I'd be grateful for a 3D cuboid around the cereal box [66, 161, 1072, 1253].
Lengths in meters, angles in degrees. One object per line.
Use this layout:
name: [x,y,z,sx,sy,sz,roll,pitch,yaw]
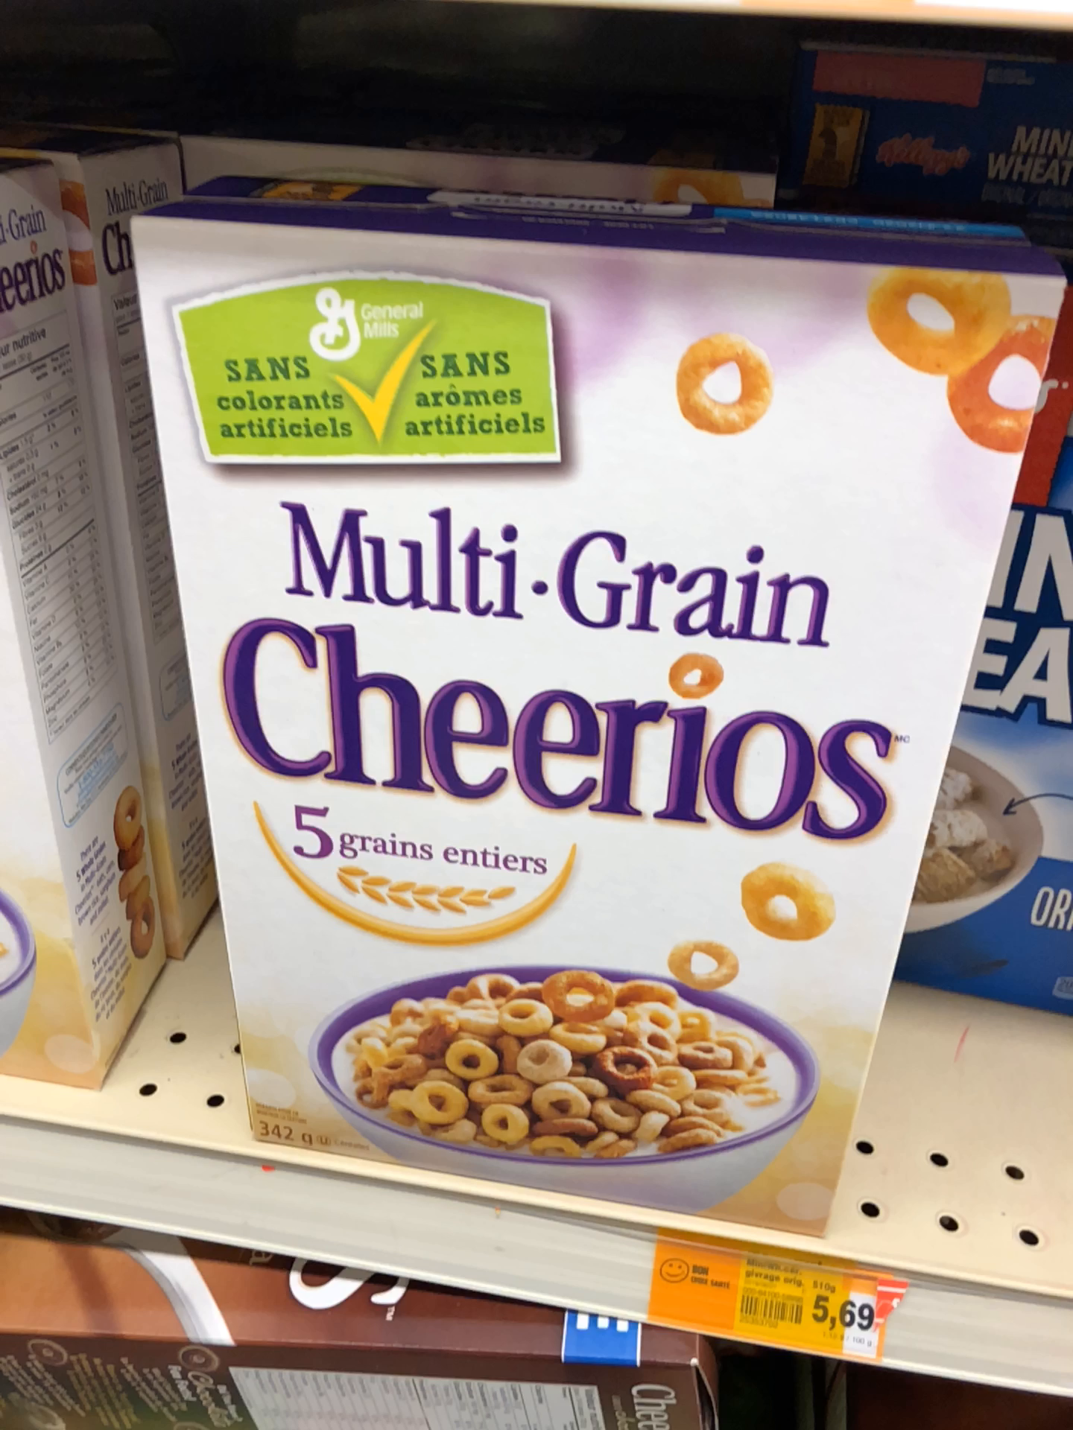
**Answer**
cereal box: [0.005,0.013,0.320,0.200,0.278,0.060,7,32,8]
